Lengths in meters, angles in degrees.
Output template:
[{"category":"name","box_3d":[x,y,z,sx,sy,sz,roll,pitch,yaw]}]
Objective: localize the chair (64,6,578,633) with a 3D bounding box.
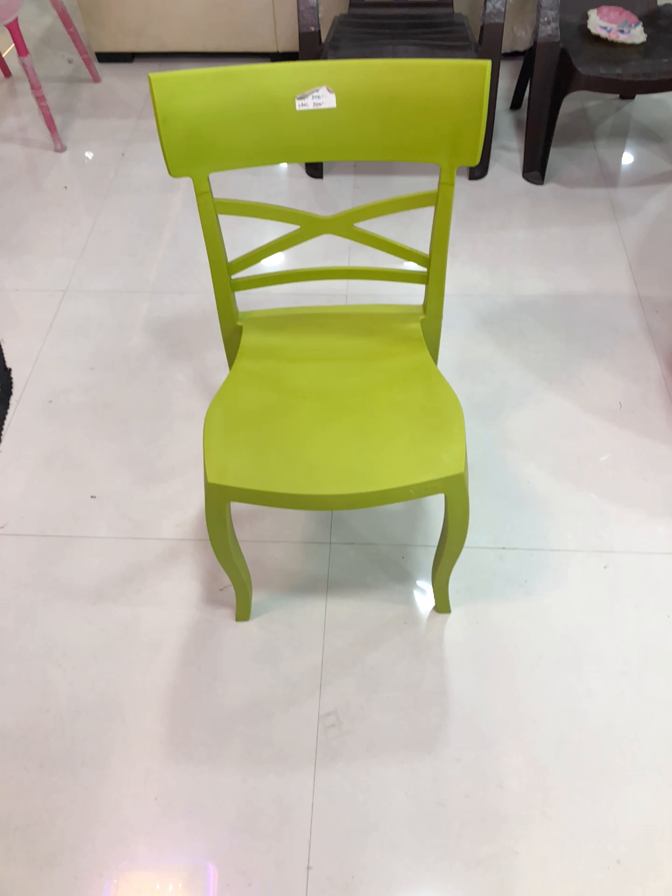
[{"category":"chair","box_3d":[-0.003,-0.159,1.222,0.500,0.805,0.613,-2,51,1]}]
